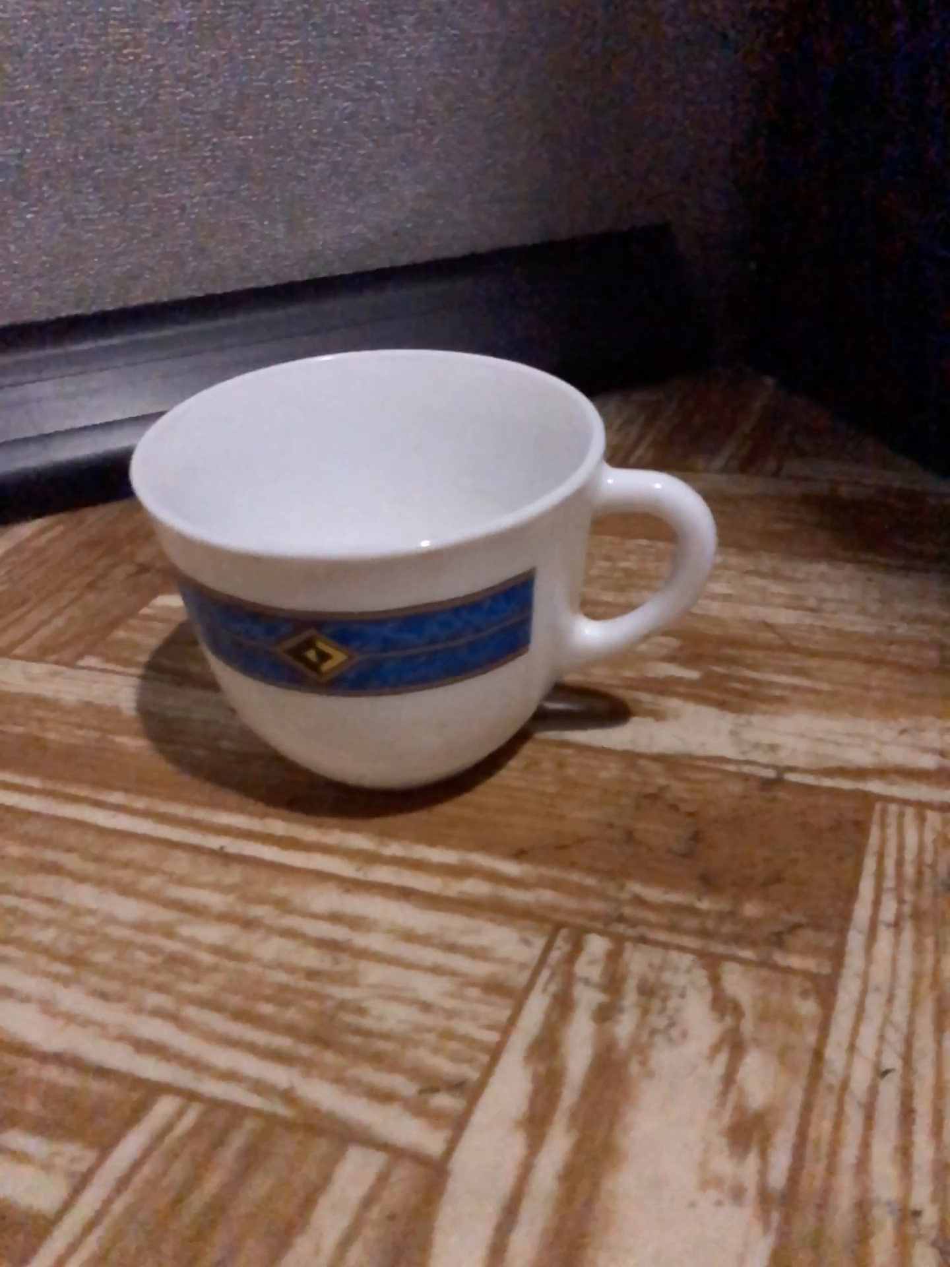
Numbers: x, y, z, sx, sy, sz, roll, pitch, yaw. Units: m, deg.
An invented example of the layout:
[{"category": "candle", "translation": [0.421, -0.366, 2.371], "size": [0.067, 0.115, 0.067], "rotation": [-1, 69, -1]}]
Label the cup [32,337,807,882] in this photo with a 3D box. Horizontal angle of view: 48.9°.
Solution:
[{"category": "cup", "translation": [-0.005, -0.011, 0.201], "size": [0.110, 0.062, 0.088], "rotation": [2, 35, 5]}]
